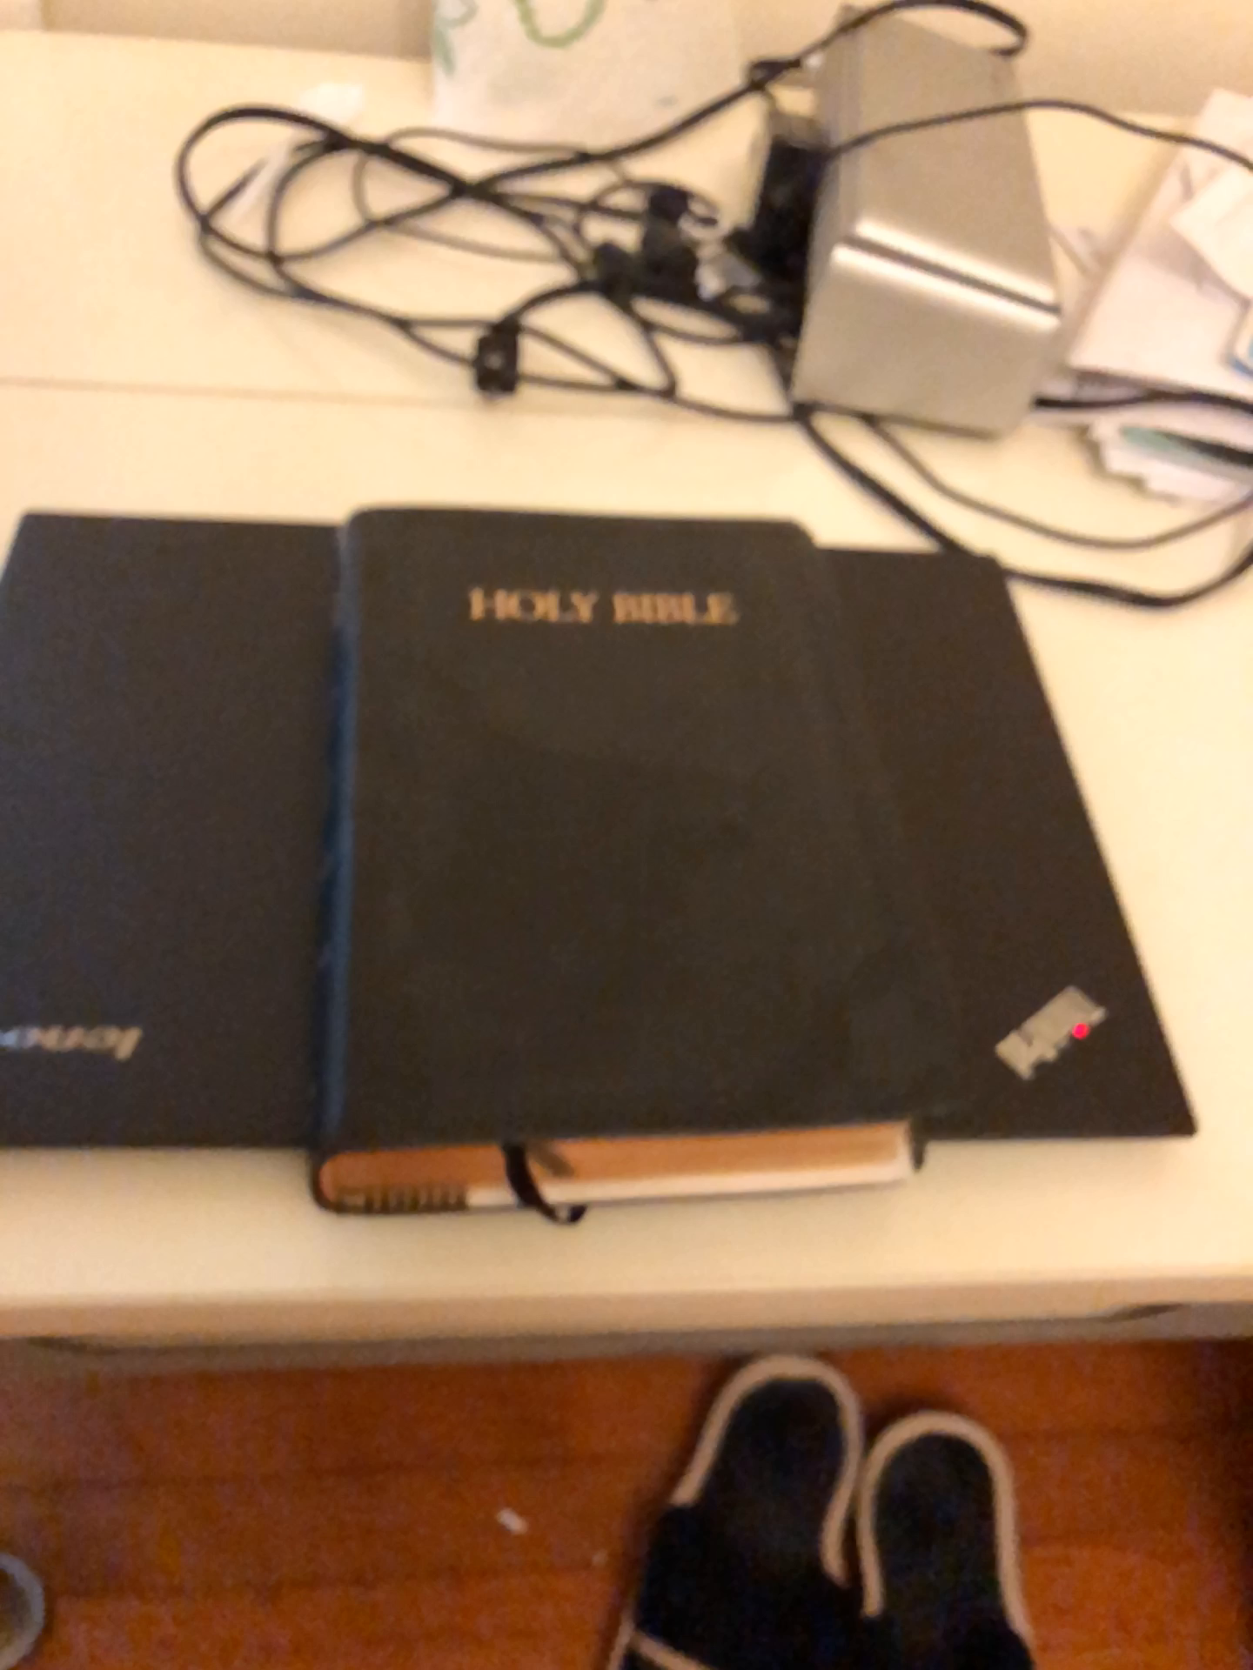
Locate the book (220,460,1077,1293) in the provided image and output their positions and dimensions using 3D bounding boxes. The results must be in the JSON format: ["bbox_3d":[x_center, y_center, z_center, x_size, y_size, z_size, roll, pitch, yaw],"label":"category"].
[{"bbox_3d":[-0.006,-0.009,0.370,0.170,0.040,0.241,-1,49,-8],"label":"book"}]
